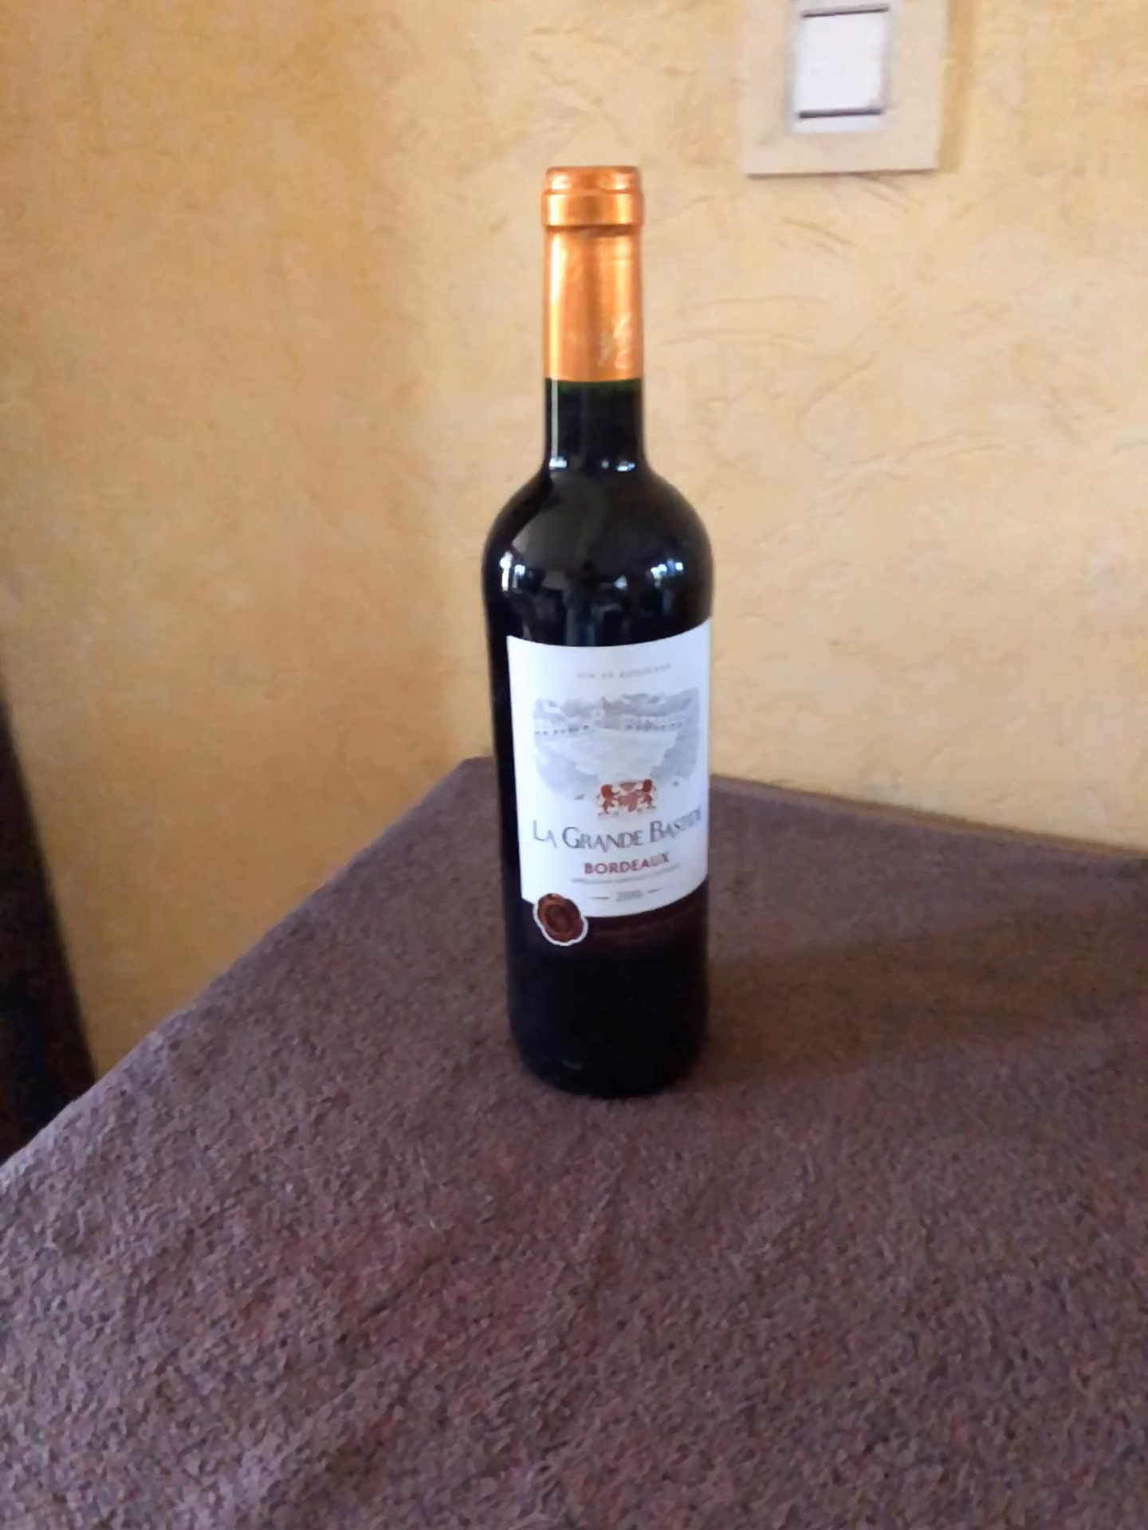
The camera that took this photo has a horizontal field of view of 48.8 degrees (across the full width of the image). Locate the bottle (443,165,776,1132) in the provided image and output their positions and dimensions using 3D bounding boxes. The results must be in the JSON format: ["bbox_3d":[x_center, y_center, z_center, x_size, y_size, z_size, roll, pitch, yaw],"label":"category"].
[{"bbox_3d":[0.012,-0.030,0.416,0.080,0.298,0.080,-2,24,1],"label":"bottle"}]
